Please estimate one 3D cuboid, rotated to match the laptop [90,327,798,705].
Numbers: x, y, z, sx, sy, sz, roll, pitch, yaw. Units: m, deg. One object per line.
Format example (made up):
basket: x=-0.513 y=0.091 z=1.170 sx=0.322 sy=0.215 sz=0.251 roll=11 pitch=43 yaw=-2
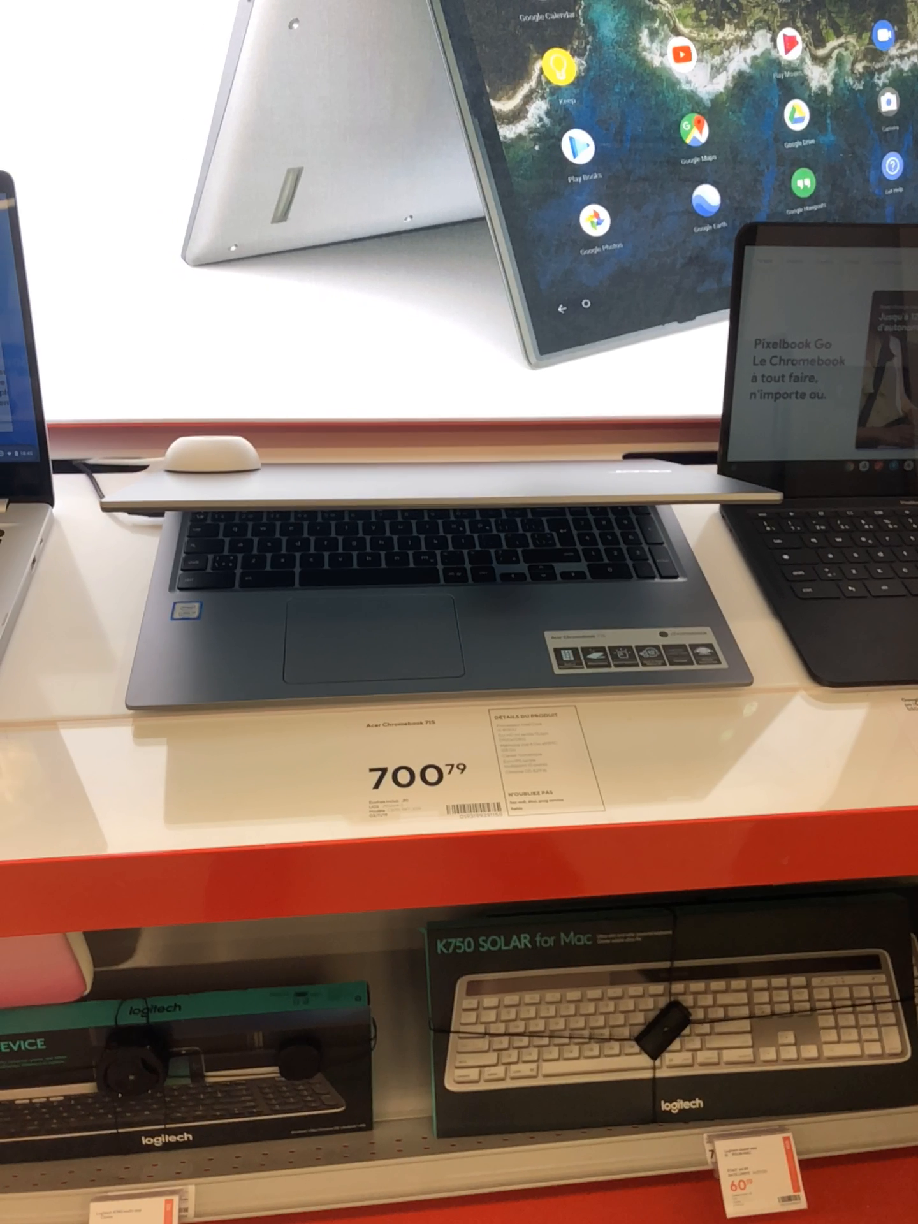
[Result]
laptop: x=-0.013 y=-0.076 z=0.648 sx=0.368 sy=0.109 sz=0.245 roll=-2 pitch=40 yaw=-9
